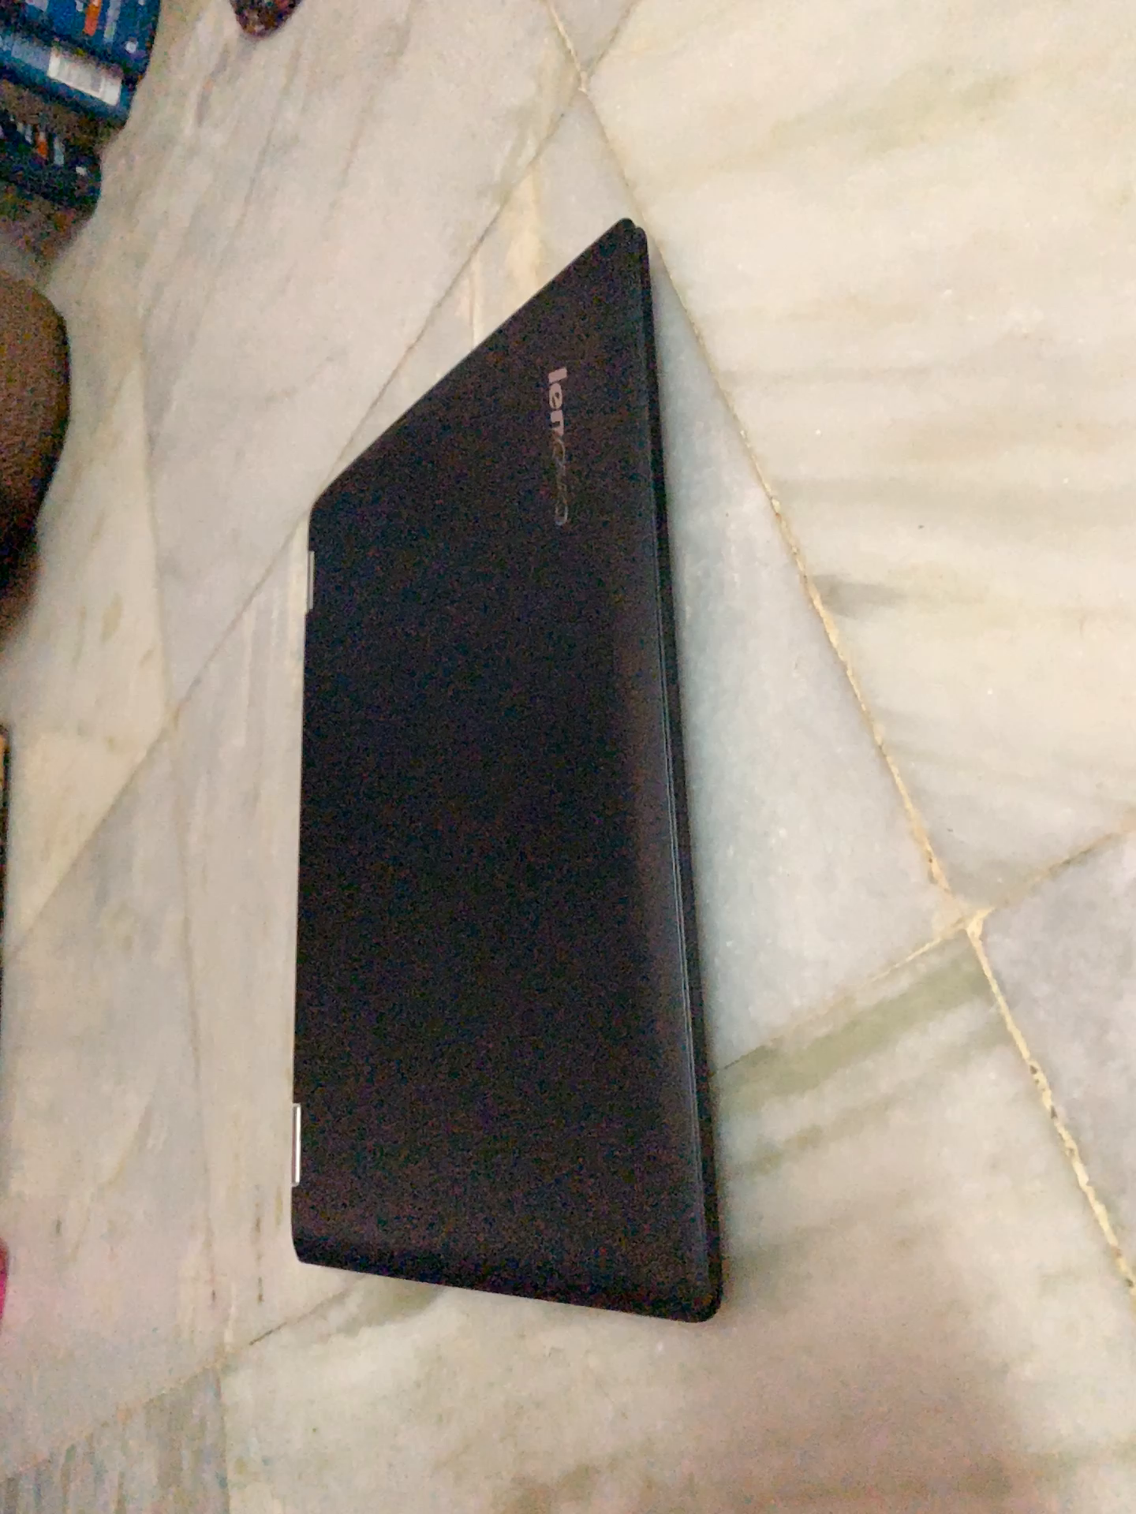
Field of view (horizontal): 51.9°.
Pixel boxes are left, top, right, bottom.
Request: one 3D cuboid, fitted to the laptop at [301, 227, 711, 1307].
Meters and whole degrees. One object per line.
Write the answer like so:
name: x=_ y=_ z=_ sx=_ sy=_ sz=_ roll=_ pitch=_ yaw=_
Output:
laptop: x=-0.041 y=0.010 z=0.421 sx=0.225 sy=0.001 sz=0.325 roll=-22 pitch=64 yaw=48
